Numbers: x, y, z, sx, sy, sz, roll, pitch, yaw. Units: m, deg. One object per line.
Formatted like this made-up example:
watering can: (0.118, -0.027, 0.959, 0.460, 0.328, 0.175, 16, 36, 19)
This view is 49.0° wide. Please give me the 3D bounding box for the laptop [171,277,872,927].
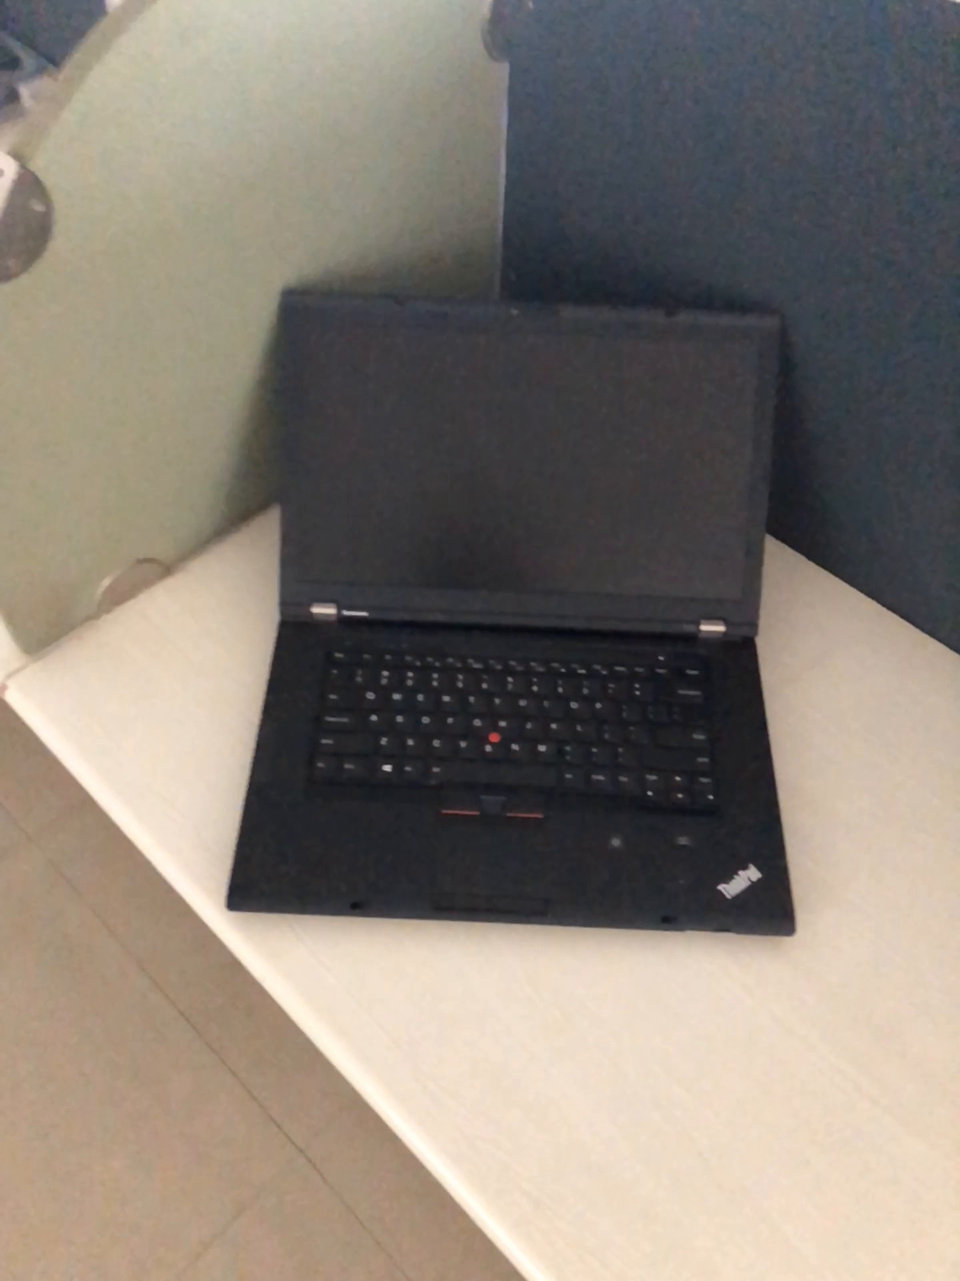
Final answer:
laptop: (0.029, -0.043, 0.717, 0.355, 0.167, 0.406, 3, 54, 1)
